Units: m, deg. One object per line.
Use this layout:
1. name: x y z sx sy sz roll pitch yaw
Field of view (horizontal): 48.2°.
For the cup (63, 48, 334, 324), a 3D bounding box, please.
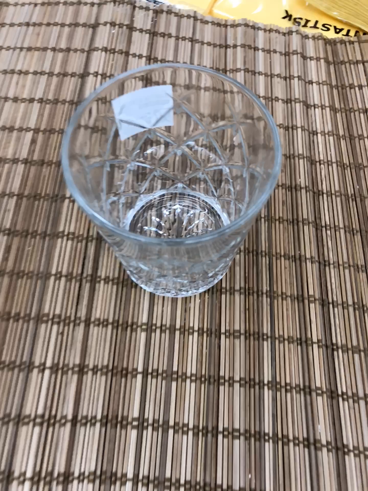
1. cup: 0.000 -0.019 0.179 0.080 0.090 0.080 1 64 -3
